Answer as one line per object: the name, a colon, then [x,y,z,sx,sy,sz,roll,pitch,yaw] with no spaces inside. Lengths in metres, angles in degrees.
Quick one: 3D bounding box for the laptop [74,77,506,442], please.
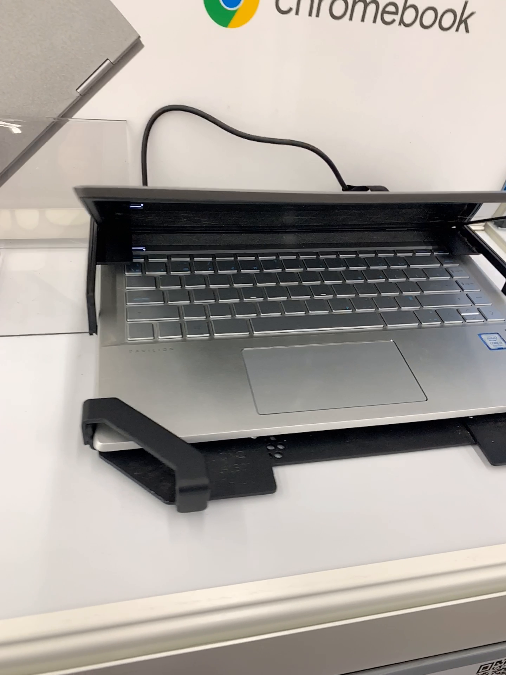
laptop: [0.048,-0.062,0.317,0.283,0.111,0.194,-3,43,-11]
